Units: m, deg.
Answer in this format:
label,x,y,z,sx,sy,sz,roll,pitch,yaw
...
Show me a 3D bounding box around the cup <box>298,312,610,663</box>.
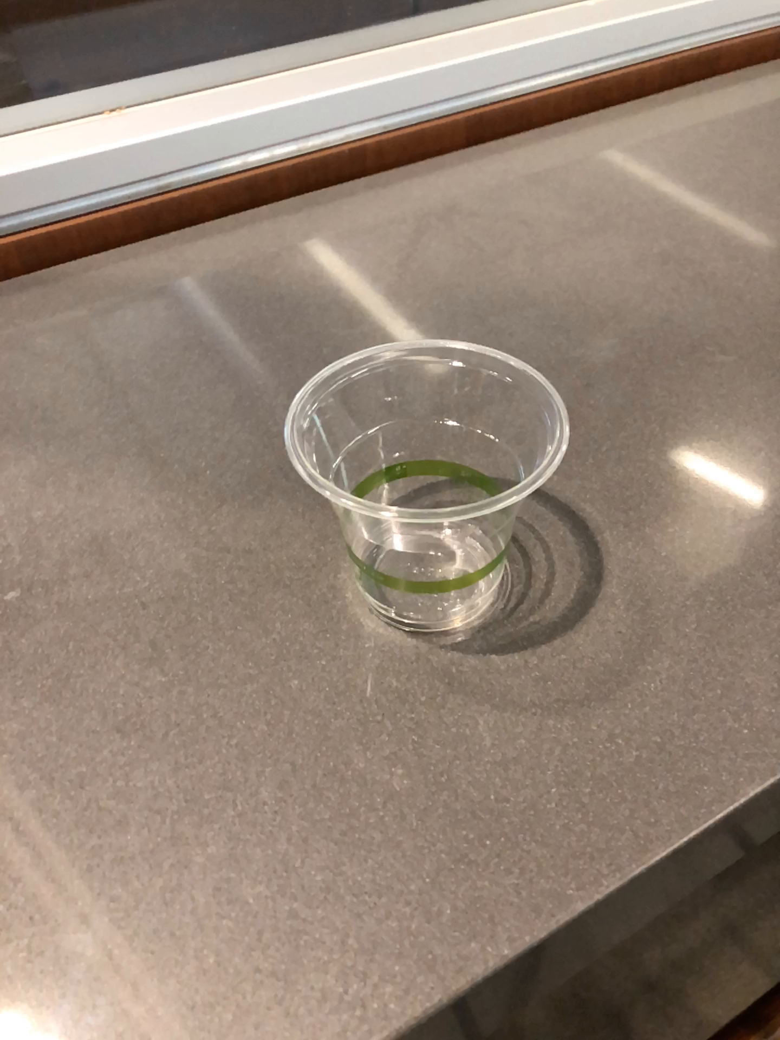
label,x,y,z,sx,sy,sz,roll,pitch,yaw
cup,0.014,-0.010,0.241,0.070,0.060,0.070,-2,44,2
